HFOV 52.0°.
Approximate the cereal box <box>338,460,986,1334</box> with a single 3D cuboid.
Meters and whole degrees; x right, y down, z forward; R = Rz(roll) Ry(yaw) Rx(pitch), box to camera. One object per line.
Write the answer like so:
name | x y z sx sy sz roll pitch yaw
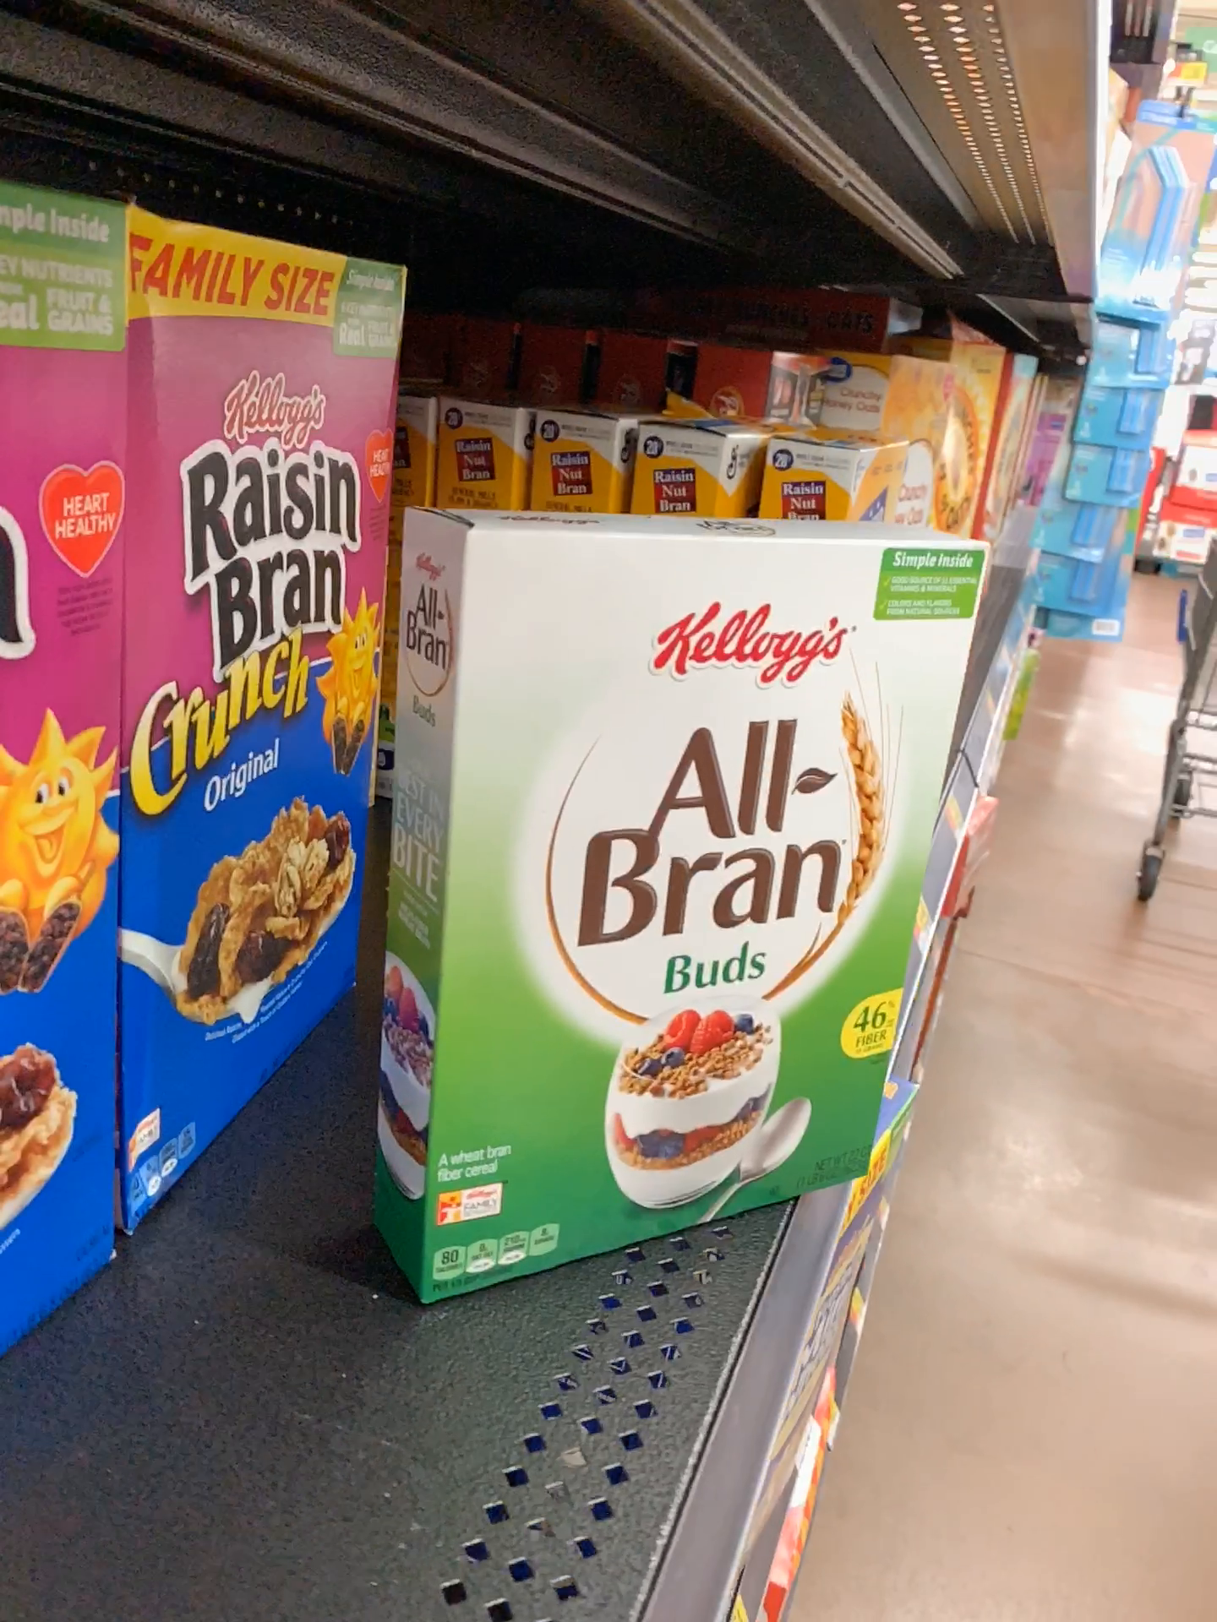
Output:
cereal box | 0.014 0.025 0.416 0.190 0.259 0.050 -5 21 -30
